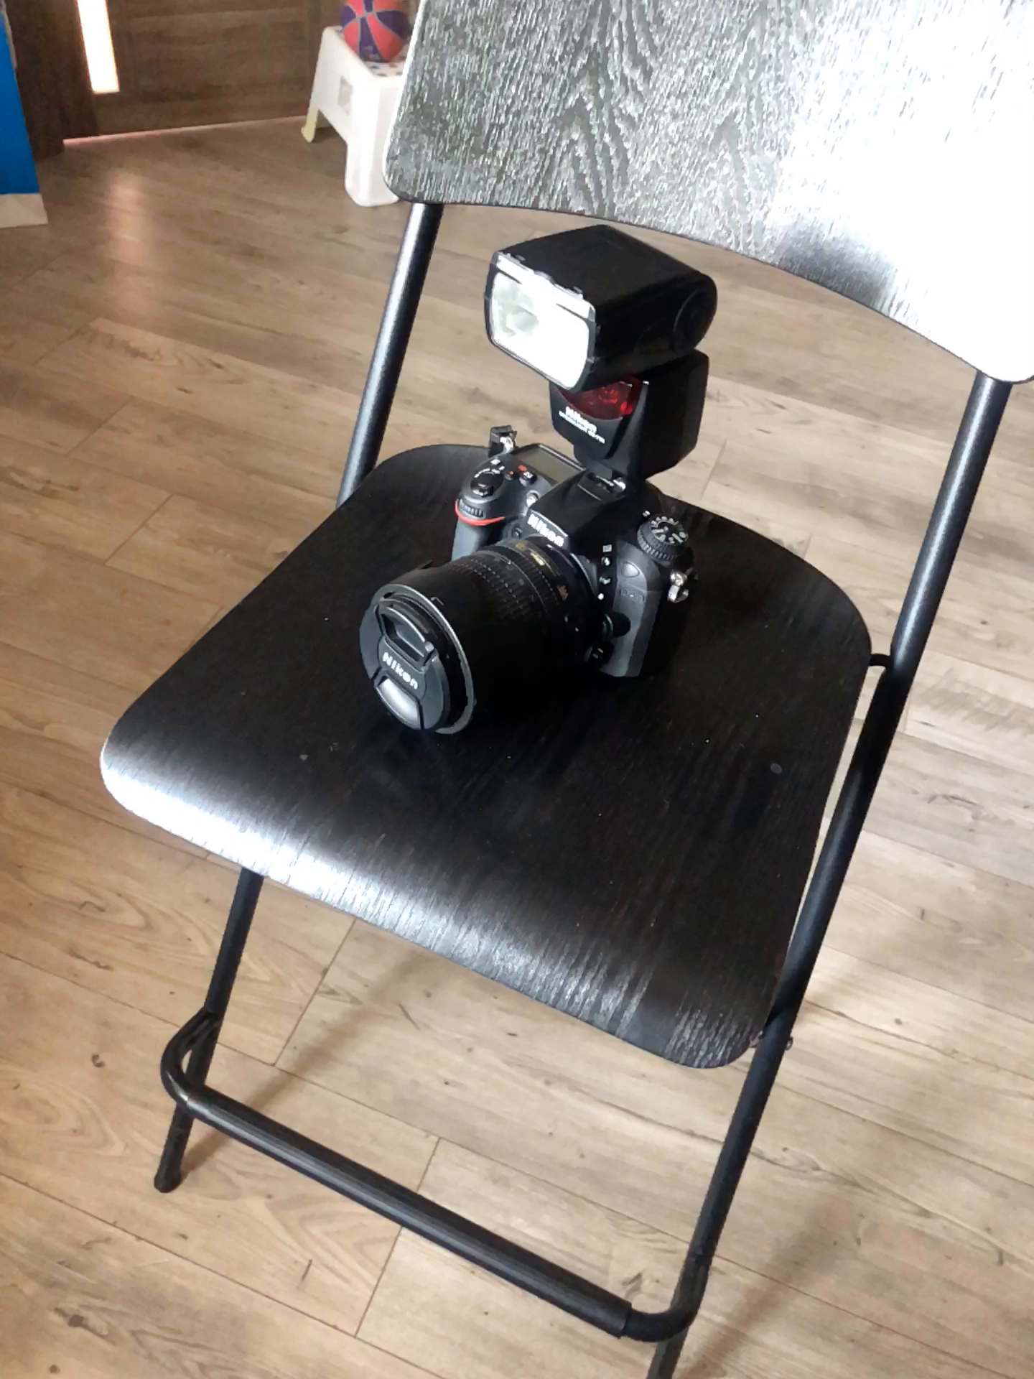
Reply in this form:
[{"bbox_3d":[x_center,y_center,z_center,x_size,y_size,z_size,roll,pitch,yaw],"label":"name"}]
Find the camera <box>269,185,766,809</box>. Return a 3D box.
[{"bbox_3d":[-0.002,-0.092,0.546,0.125,0.217,0.168,36,53,29],"label":"camera"}]
